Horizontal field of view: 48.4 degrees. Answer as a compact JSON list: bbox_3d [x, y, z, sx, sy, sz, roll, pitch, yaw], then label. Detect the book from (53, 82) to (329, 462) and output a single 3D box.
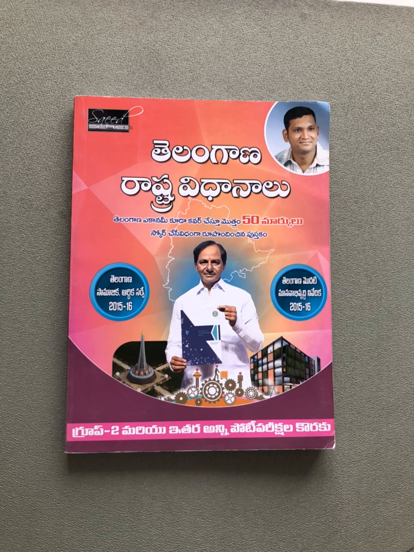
[{"bbox_3d":[-0.009,-0.005,0.325,0.180,0.030,0.250,1,85,-5],"label":"book"}]
